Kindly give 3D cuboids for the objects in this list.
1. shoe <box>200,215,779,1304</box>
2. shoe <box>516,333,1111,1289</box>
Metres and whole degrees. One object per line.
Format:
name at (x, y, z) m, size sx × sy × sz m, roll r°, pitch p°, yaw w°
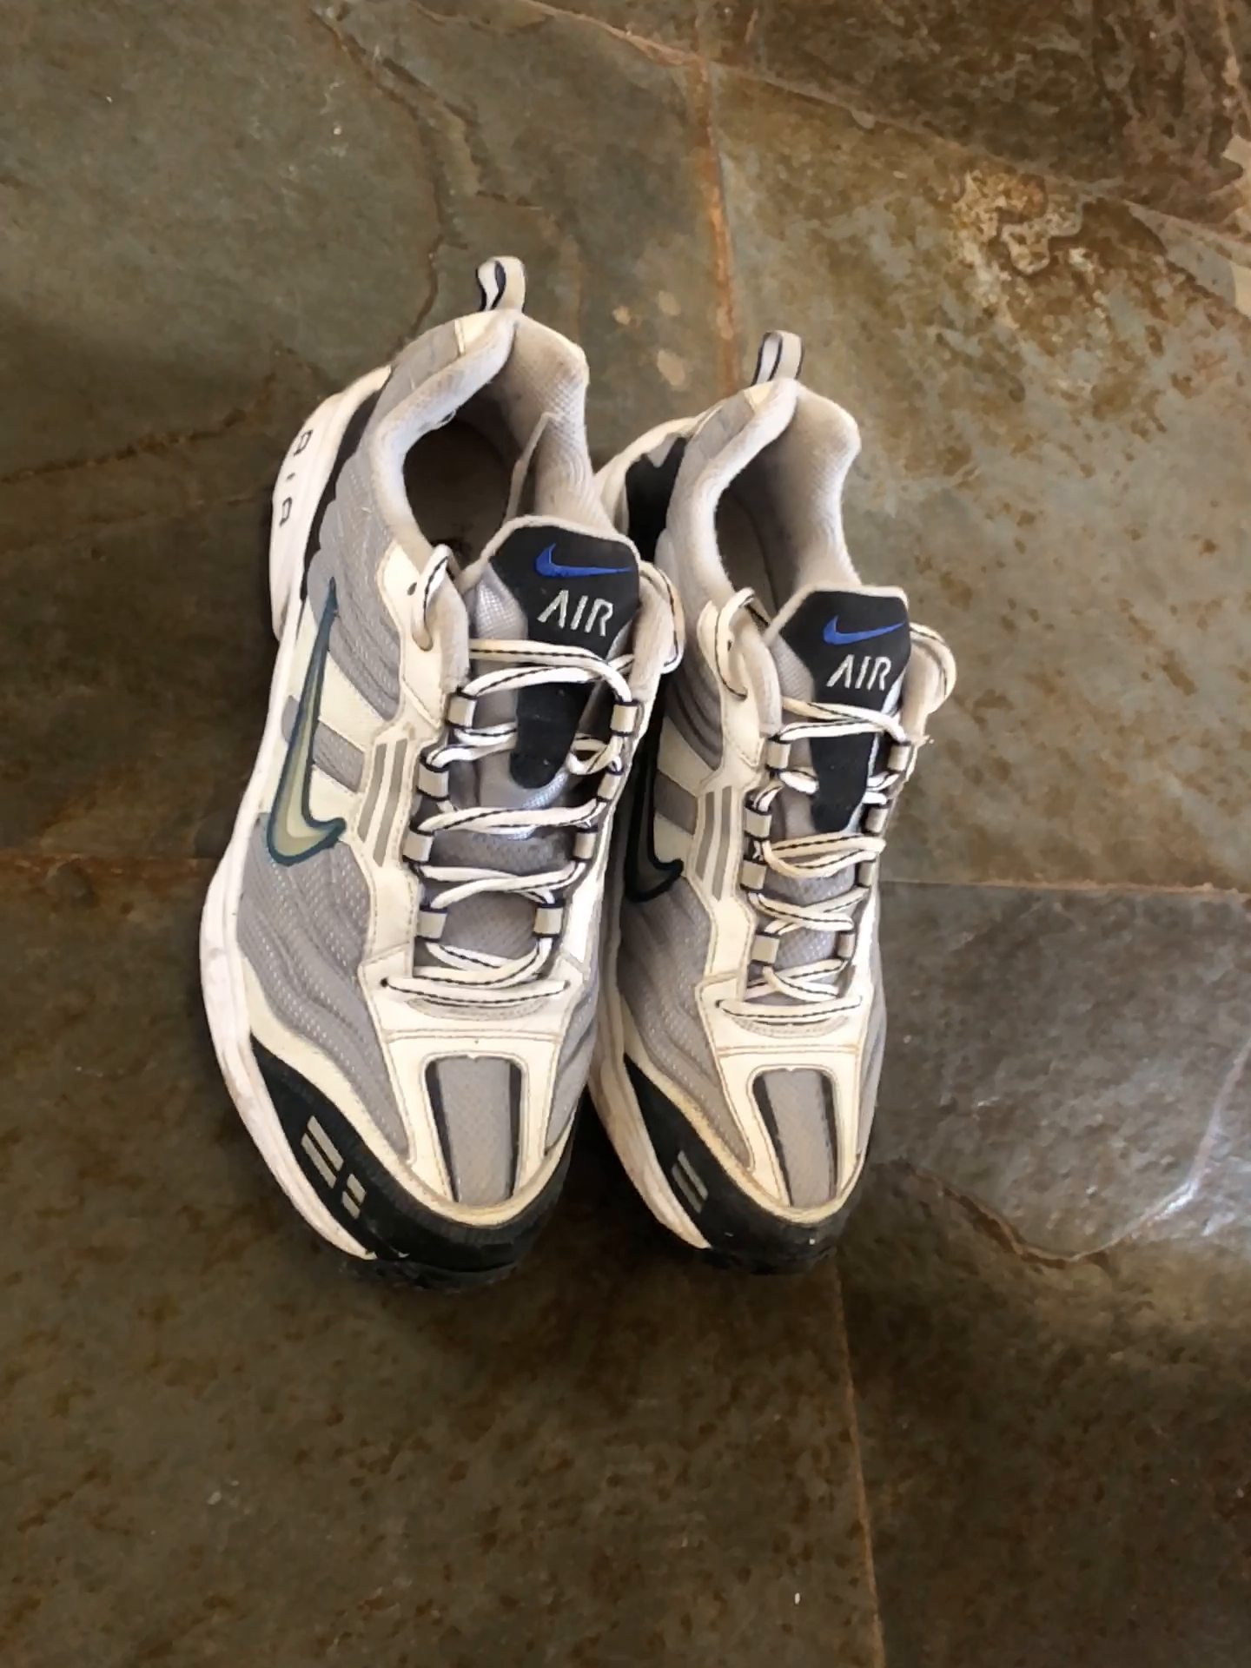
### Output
shoe at (-0.051, -0.012, 0.387) m, size 0.110 × 0.119 × 0.260 m, roll 3°, pitch 72°, yaw -27°
shoe at (0.046, -0.001, 0.431) m, size 0.110 × 0.109 × 0.260 m, roll 3°, pitch 72°, yaw -27°
